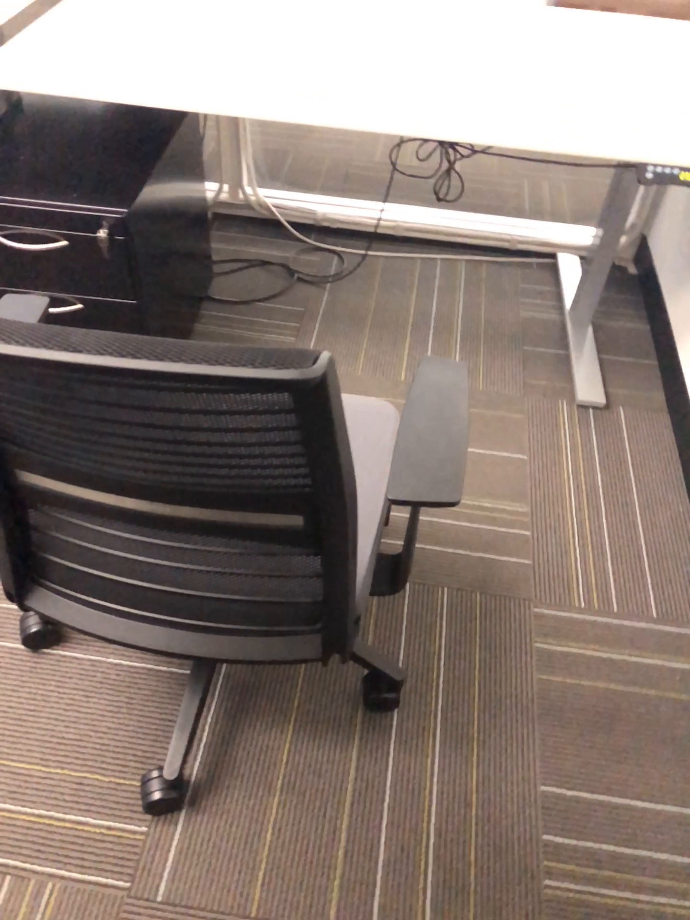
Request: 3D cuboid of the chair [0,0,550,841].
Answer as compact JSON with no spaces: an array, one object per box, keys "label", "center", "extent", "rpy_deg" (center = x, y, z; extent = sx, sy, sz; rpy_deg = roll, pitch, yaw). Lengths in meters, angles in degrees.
[{"label":"chair","center":[-0.211,-0.031,1.059],"extent":[0.720,0.906,0.683],"rpy_deg":[7,46,3]}]
